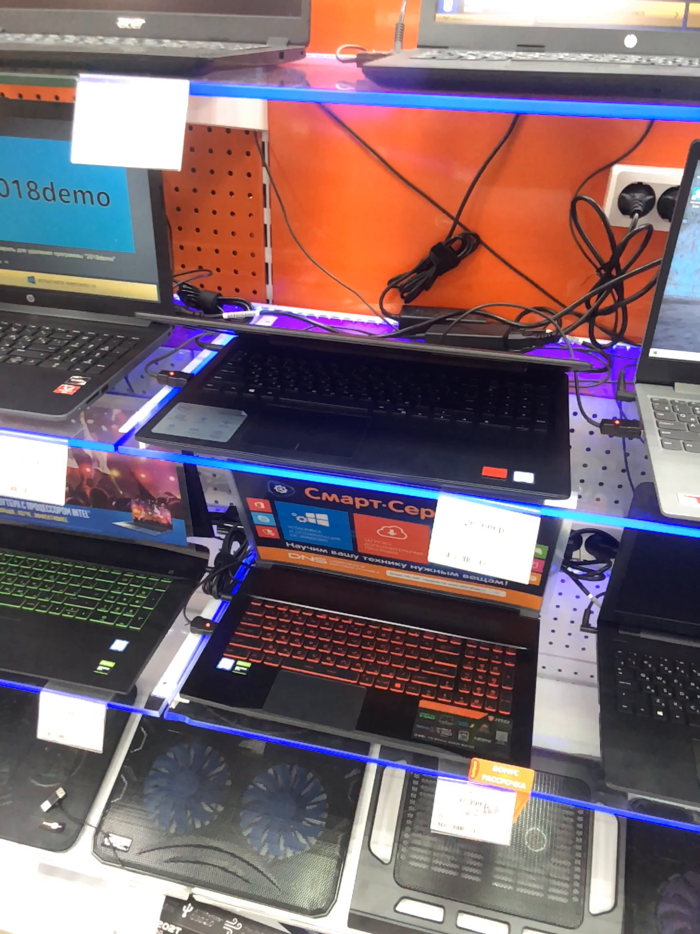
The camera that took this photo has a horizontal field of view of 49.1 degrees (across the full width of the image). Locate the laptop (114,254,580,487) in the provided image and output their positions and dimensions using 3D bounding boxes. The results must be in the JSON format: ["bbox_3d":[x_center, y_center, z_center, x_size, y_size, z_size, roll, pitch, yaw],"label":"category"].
[{"bbox_3d":[0.015,-0.107,0.719,0.371,0.100,0.239,7,30,11],"label":"laptop"}]
